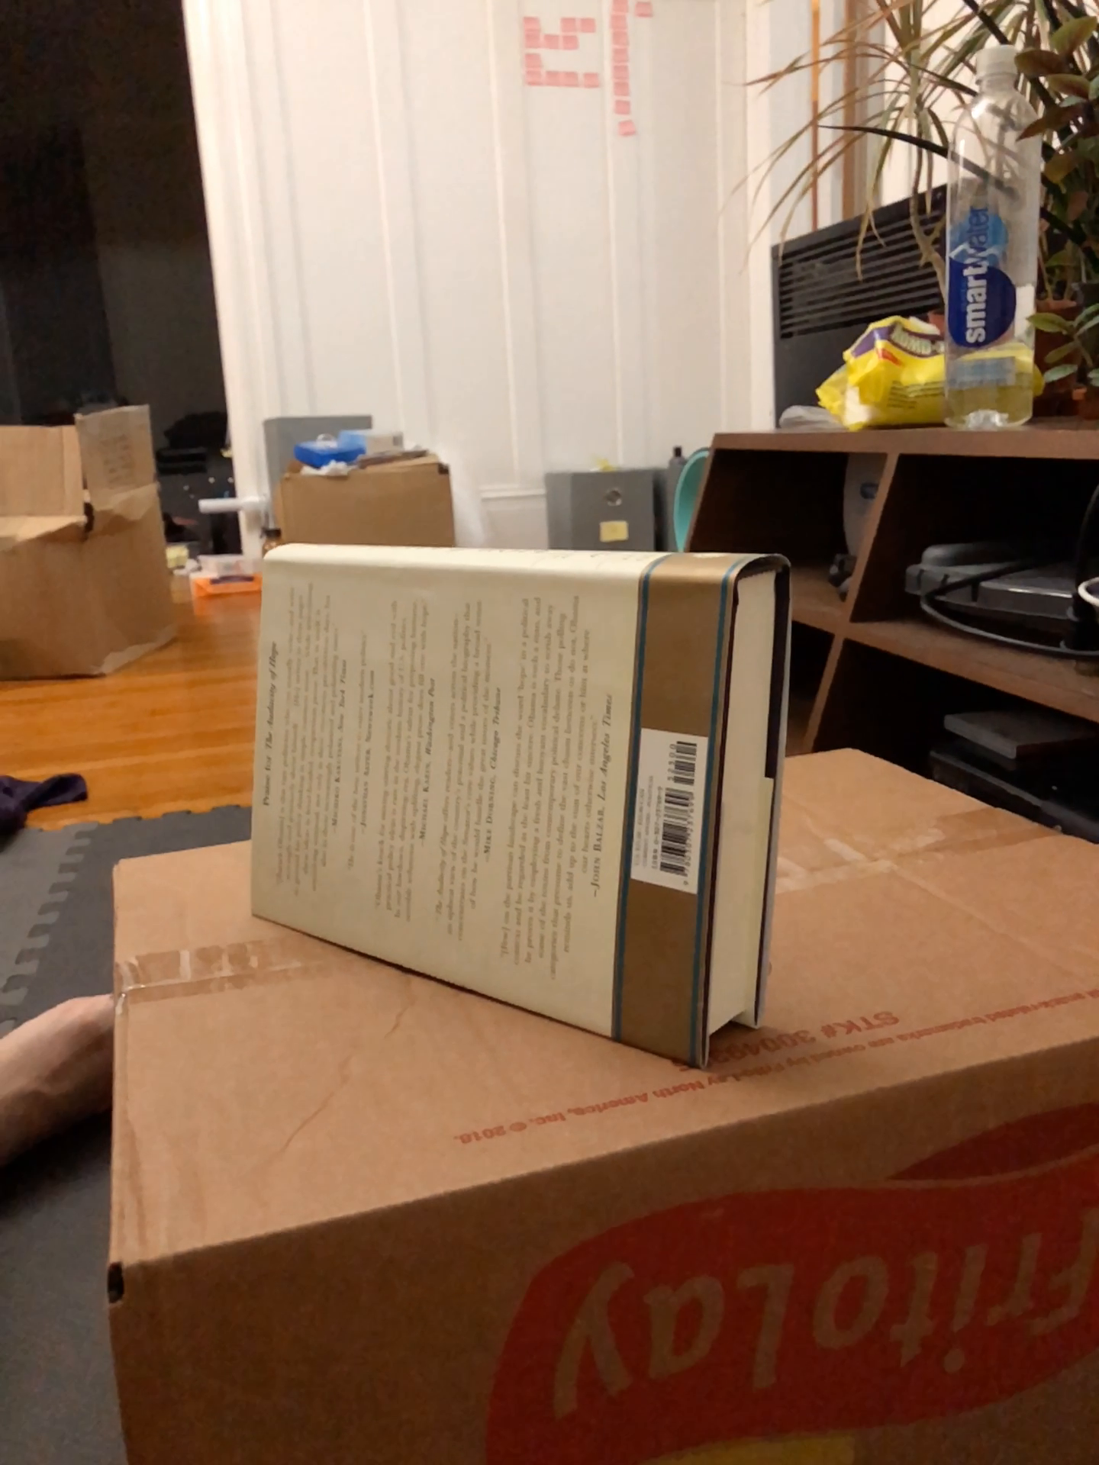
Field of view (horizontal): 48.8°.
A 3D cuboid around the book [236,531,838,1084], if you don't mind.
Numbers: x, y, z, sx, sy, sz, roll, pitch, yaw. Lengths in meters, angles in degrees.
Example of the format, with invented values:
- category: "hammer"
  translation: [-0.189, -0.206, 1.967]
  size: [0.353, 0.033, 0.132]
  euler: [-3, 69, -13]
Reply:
- category: "book"
  translation: [-0.021, 0.011, 0.486]
  size: [0.250, 0.170, 0.060]
  euler: [10, 8, 39]
